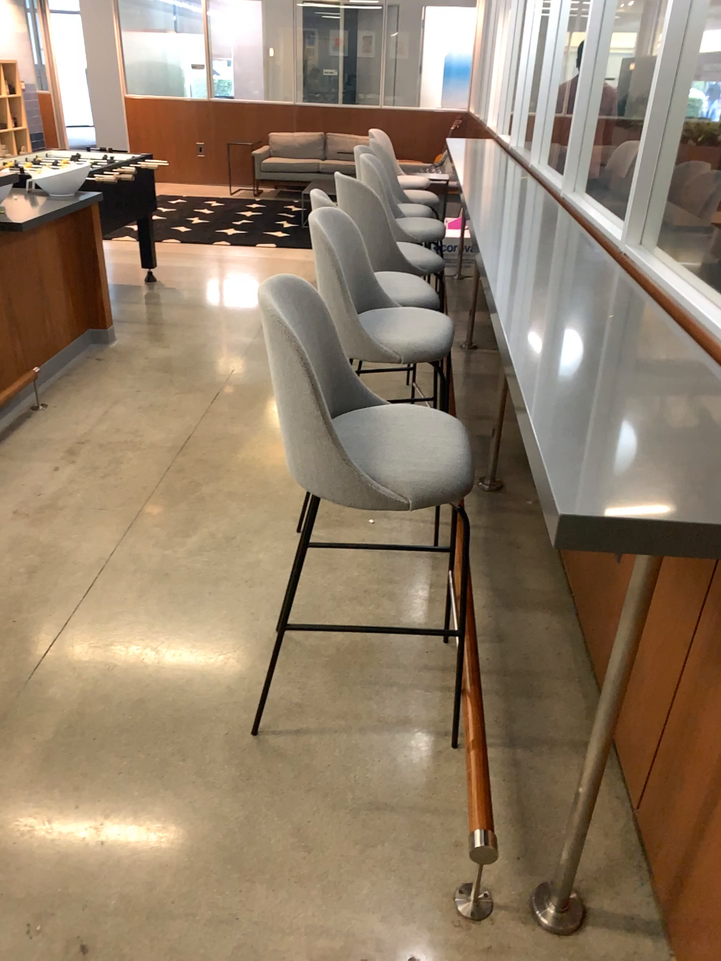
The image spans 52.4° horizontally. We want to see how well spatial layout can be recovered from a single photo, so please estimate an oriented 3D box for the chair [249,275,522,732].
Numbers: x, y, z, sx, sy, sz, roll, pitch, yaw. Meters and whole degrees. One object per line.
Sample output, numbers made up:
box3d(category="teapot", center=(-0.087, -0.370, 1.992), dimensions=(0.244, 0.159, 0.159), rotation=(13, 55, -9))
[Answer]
box3d(category="chair", center=(0.019, 0.078, 1.787), dimensions=(0.510, 1.034, 0.412), rotation=(1, 28, -3))
